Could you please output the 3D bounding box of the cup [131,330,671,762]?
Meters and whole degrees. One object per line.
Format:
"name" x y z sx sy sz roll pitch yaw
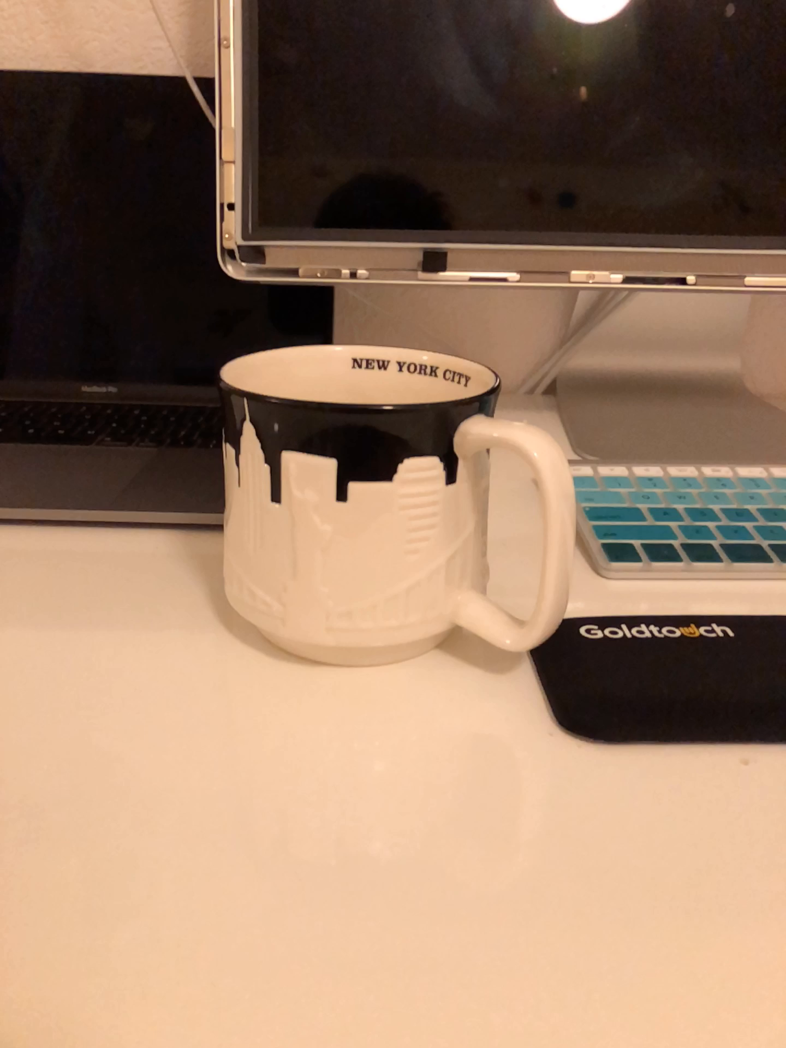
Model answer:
"cup" 0.001 -0.008 0.316 0.150 0.090 0.110 18 27 34
